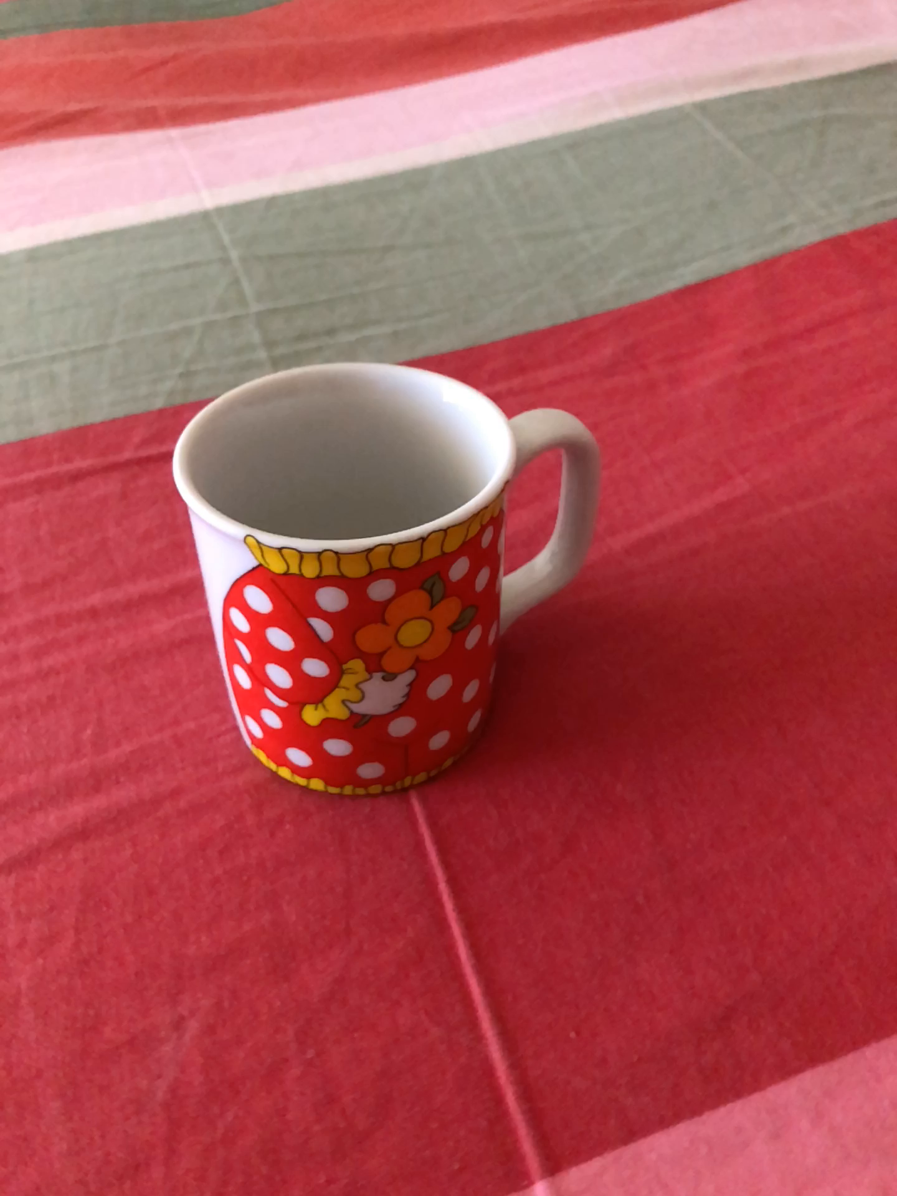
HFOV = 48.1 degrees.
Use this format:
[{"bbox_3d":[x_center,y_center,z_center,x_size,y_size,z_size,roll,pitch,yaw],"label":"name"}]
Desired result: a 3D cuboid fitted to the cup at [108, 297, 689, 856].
[{"bbox_3d":[-0.014,-0.013,0.280,0.116,0.086,0.089,-24,48,-26],"label":"cup"}]
